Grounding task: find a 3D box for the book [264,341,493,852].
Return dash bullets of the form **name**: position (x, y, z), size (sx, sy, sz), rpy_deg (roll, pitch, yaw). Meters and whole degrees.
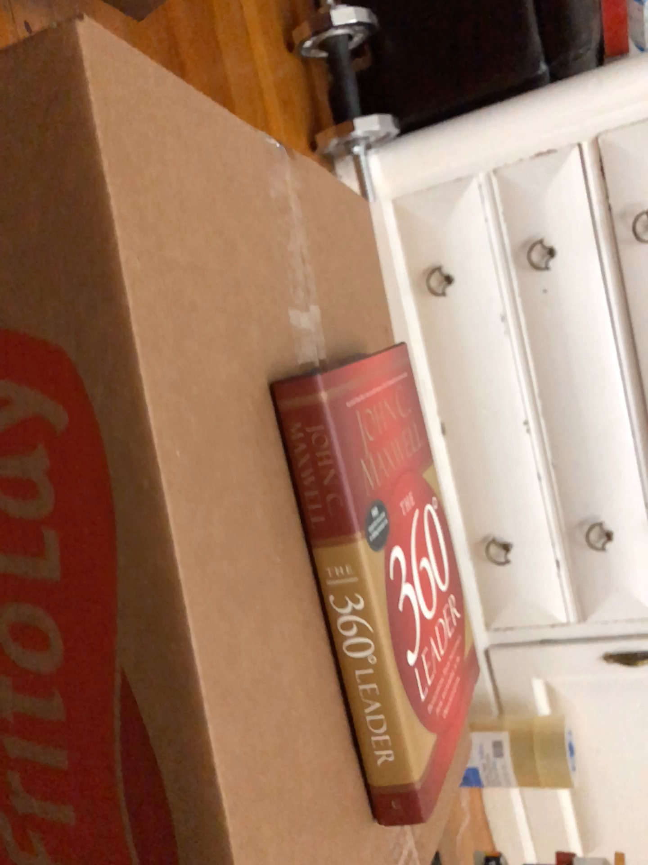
- **book**: position (0.046, 0.073, 0.426), size (0.181, 0.030, 0.240), rpy_deg (-28, 105, -66)
